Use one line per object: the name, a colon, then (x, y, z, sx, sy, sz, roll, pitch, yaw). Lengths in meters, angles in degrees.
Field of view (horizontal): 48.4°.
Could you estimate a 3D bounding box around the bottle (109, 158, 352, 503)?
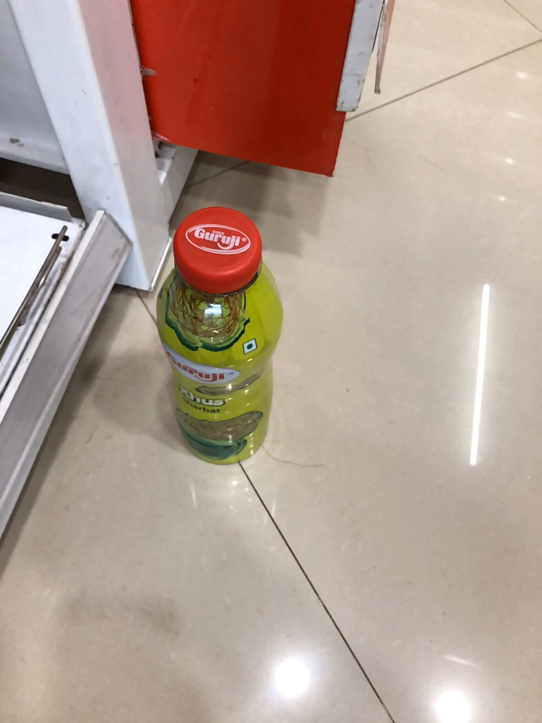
bottle: (-0.020, 0.004, 0.373, 0.080, 0.239, 0.080, 1, 63, -2)
